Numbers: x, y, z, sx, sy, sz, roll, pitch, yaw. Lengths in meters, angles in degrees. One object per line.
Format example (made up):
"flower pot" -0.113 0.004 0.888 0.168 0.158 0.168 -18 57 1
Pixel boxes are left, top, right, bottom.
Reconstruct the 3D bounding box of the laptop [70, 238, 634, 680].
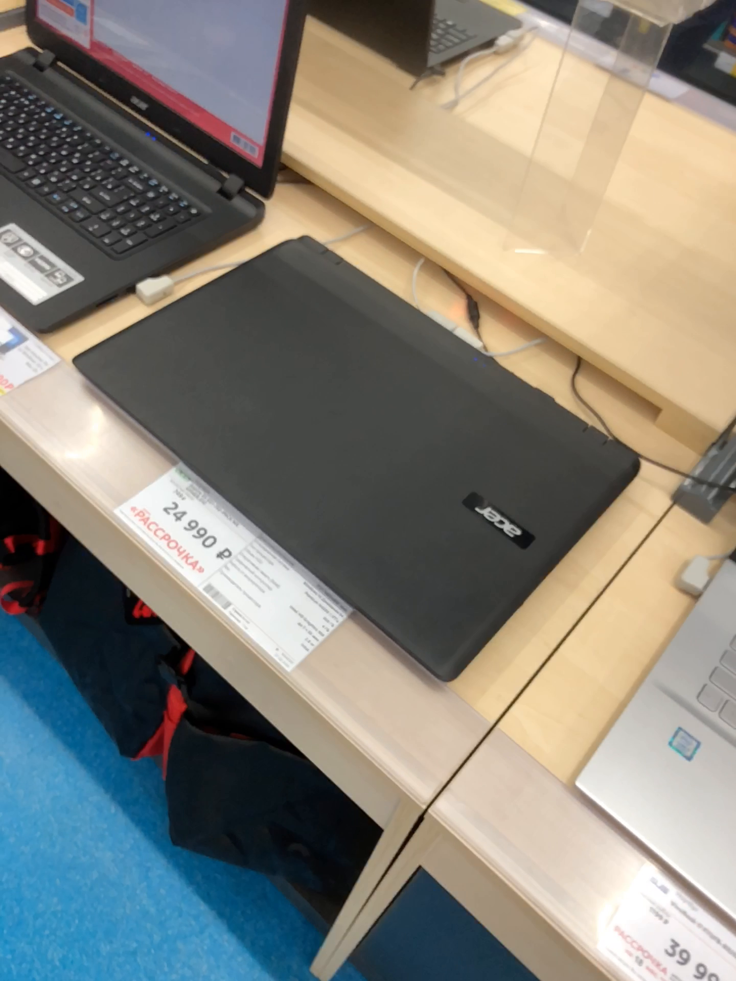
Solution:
"laptop" -0.010 -0.063 0.710 0.410 0.005 0.278 37 57 17
